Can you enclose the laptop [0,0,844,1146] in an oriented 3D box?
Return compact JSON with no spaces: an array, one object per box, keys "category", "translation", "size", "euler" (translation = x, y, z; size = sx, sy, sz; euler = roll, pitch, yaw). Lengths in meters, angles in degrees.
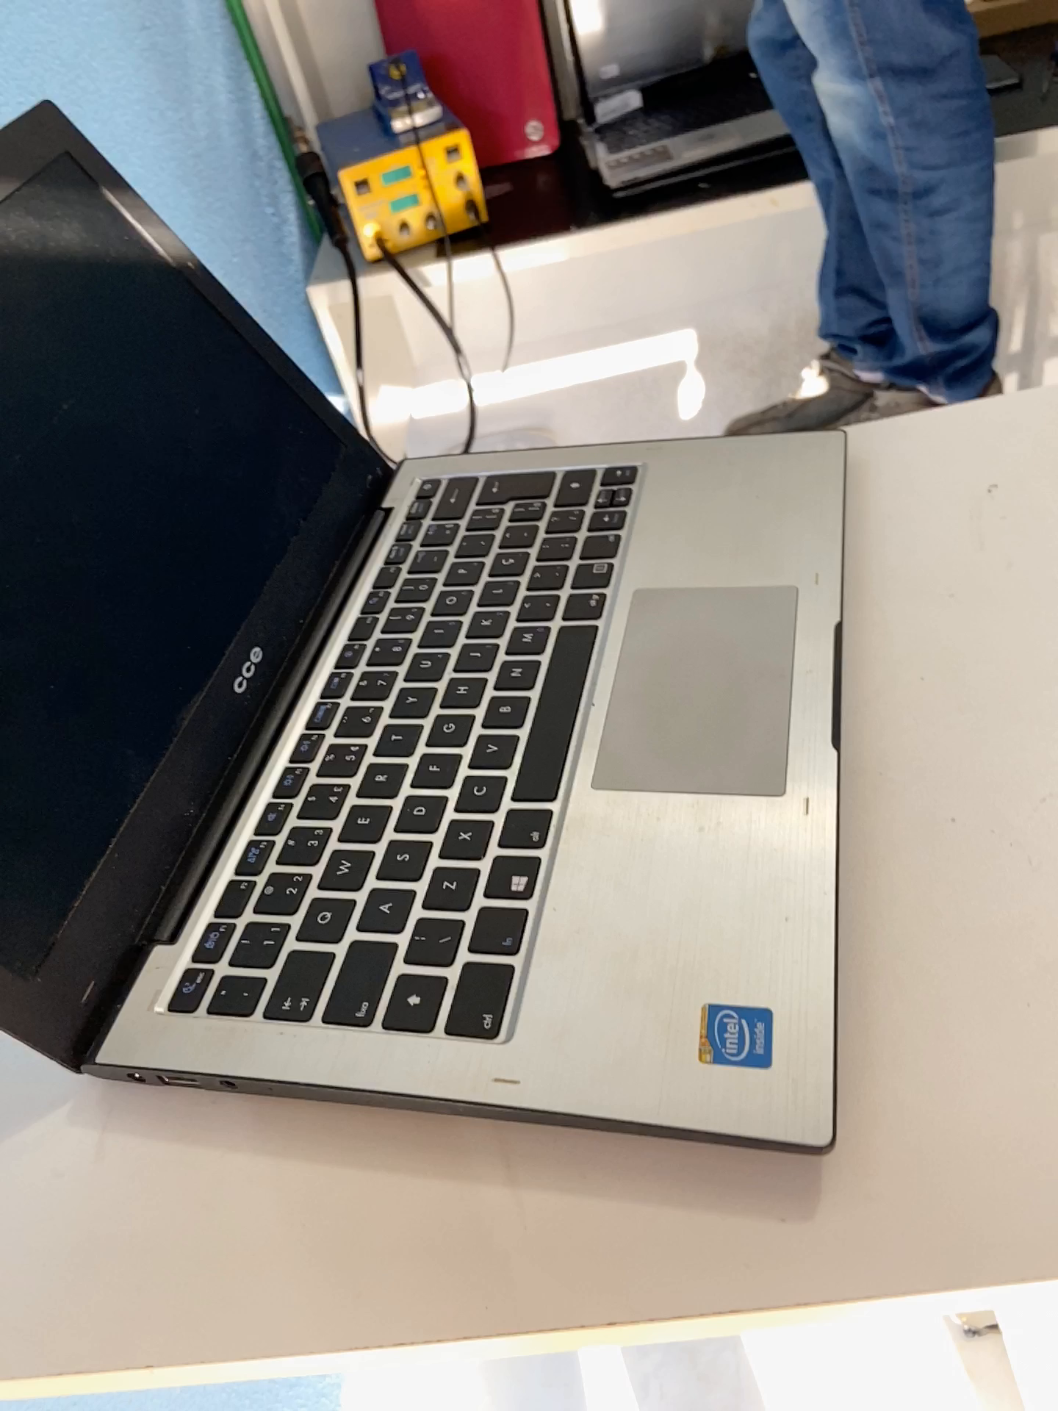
[{"category":"laptop","translation":[-0.061,-0.068,0.351],"size":[0.303,0.181,0.314],"euler":[-1,44,18]}]
